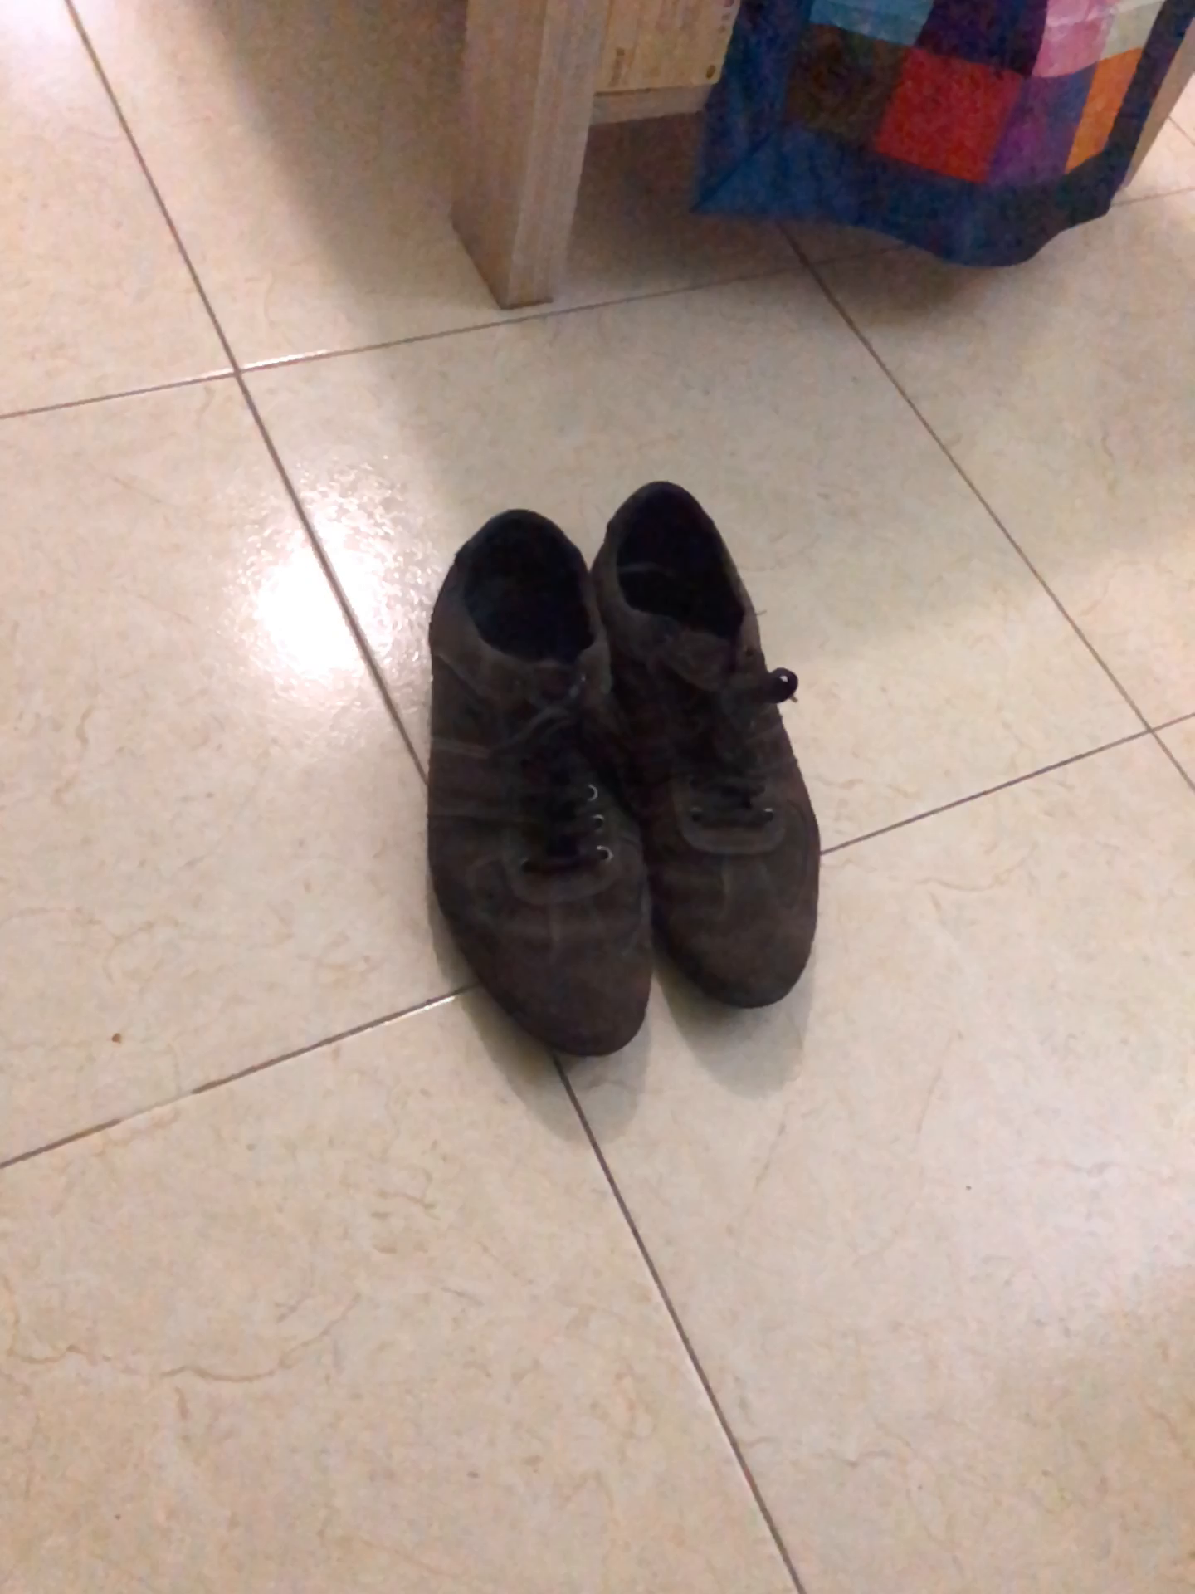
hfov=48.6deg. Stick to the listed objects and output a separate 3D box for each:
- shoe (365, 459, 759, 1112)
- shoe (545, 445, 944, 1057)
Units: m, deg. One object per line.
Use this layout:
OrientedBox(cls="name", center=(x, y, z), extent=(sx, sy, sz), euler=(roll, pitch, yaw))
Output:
OrientedBox(cls="shoe", center=(-0.033, -0.015, 0.661), extent=(0.120, 0.110, 0.300), euler=(-7, 62, -15))
OrientedBox(cls="shoe", center=(0.062, -0.033, 0.696), extent=(0.110, 0.110, 0.300), euler=(-6, 61, -14))
